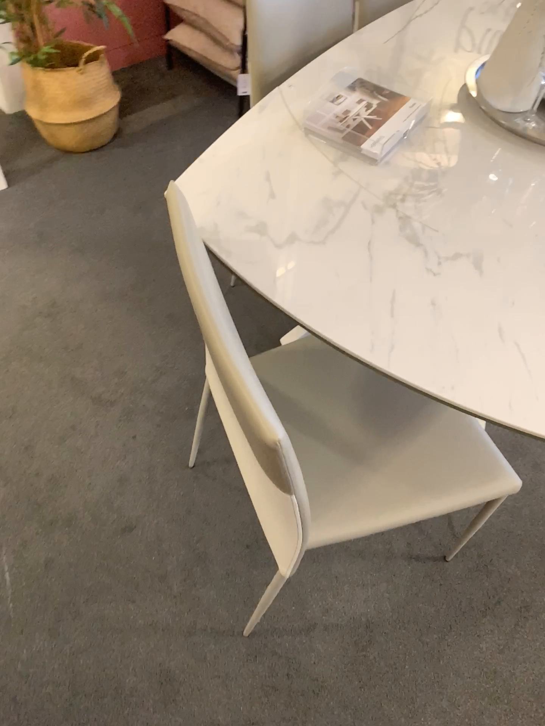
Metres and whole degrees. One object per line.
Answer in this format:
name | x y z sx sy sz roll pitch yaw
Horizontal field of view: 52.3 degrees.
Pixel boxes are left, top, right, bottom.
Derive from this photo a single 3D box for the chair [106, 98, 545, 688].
chair | 0.120 0.108 0.971 0.582 0.824 0.535 -15 57 -17
